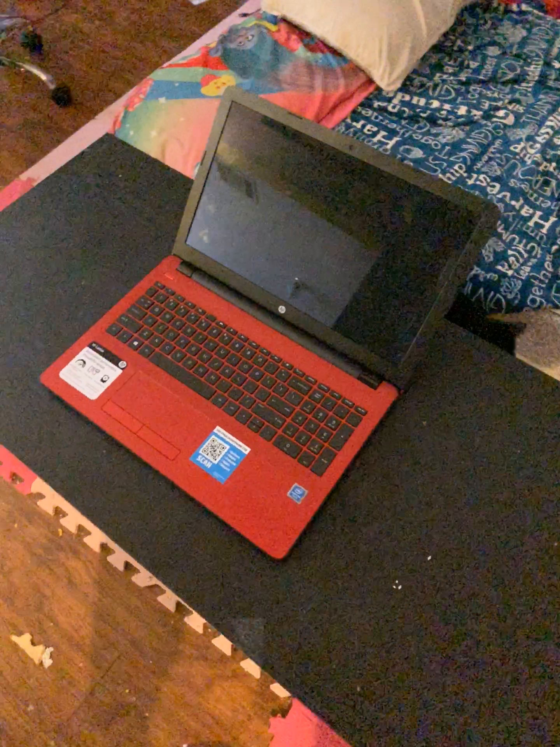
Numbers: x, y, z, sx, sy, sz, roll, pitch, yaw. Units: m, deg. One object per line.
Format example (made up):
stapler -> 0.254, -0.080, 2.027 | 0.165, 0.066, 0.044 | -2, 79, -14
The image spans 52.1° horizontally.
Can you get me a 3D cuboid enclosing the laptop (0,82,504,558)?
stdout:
laptop -> -0.031, -0.088, 0.667 | 0.376, 0.170, 0.410 | 32, 66, 18
